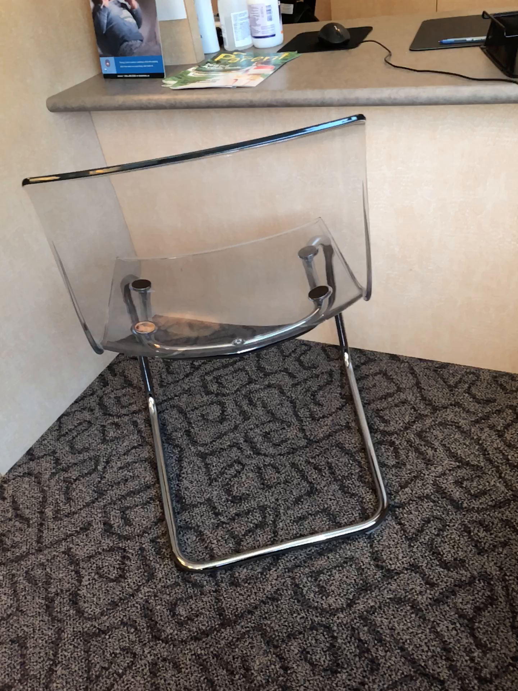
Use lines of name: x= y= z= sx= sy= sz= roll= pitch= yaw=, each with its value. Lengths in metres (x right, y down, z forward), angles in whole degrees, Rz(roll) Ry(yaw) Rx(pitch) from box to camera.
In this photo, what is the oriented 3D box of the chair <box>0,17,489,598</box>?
chair: x=-0.038 y=-0.090 z=1.100 sx=0.600 sy=0.804 sz=0.645 roll=-12 pitch=37 yaw=-3
